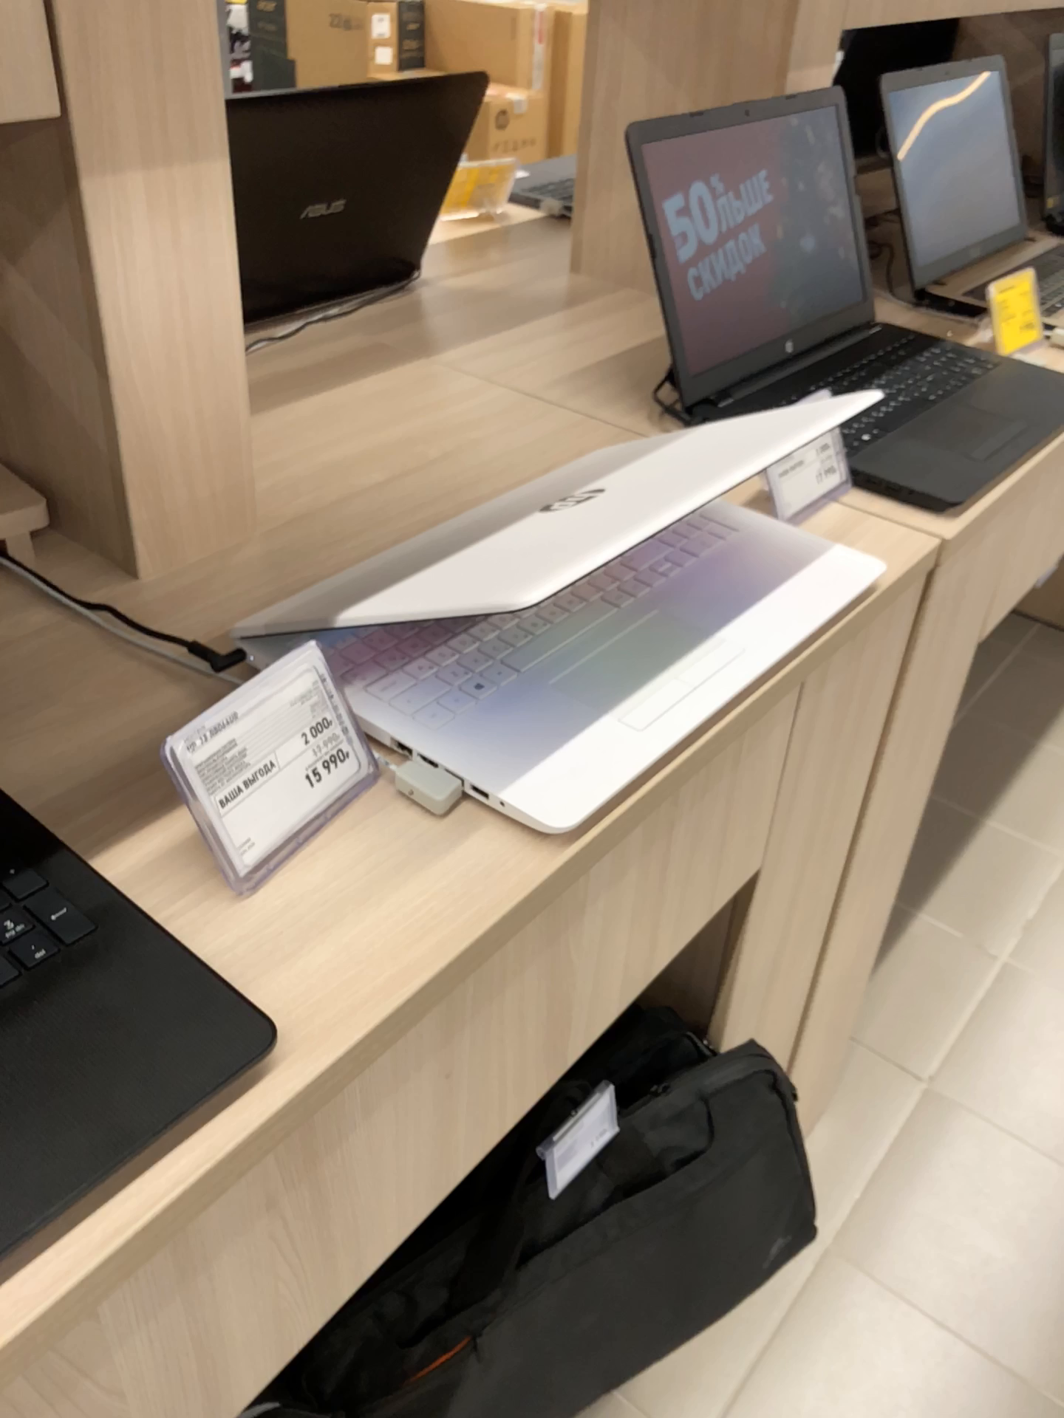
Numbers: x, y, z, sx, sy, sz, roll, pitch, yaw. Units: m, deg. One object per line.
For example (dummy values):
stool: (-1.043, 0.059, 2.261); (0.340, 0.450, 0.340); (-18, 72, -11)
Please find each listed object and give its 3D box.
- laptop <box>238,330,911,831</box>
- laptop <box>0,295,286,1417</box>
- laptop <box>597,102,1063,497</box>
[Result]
laptop: (0.042, -0.111, 0.731); (0.232, 0.103, 0.369); (29, 42, 27)
laptop: (-0.363, 0.046, 0.368); (0.368, 0.203, 0.387); (27, 40, 29)
laptop: (0.320, -0.400, 1.073); (0.349, 0.219, 0.393); (26, 38, 28)
